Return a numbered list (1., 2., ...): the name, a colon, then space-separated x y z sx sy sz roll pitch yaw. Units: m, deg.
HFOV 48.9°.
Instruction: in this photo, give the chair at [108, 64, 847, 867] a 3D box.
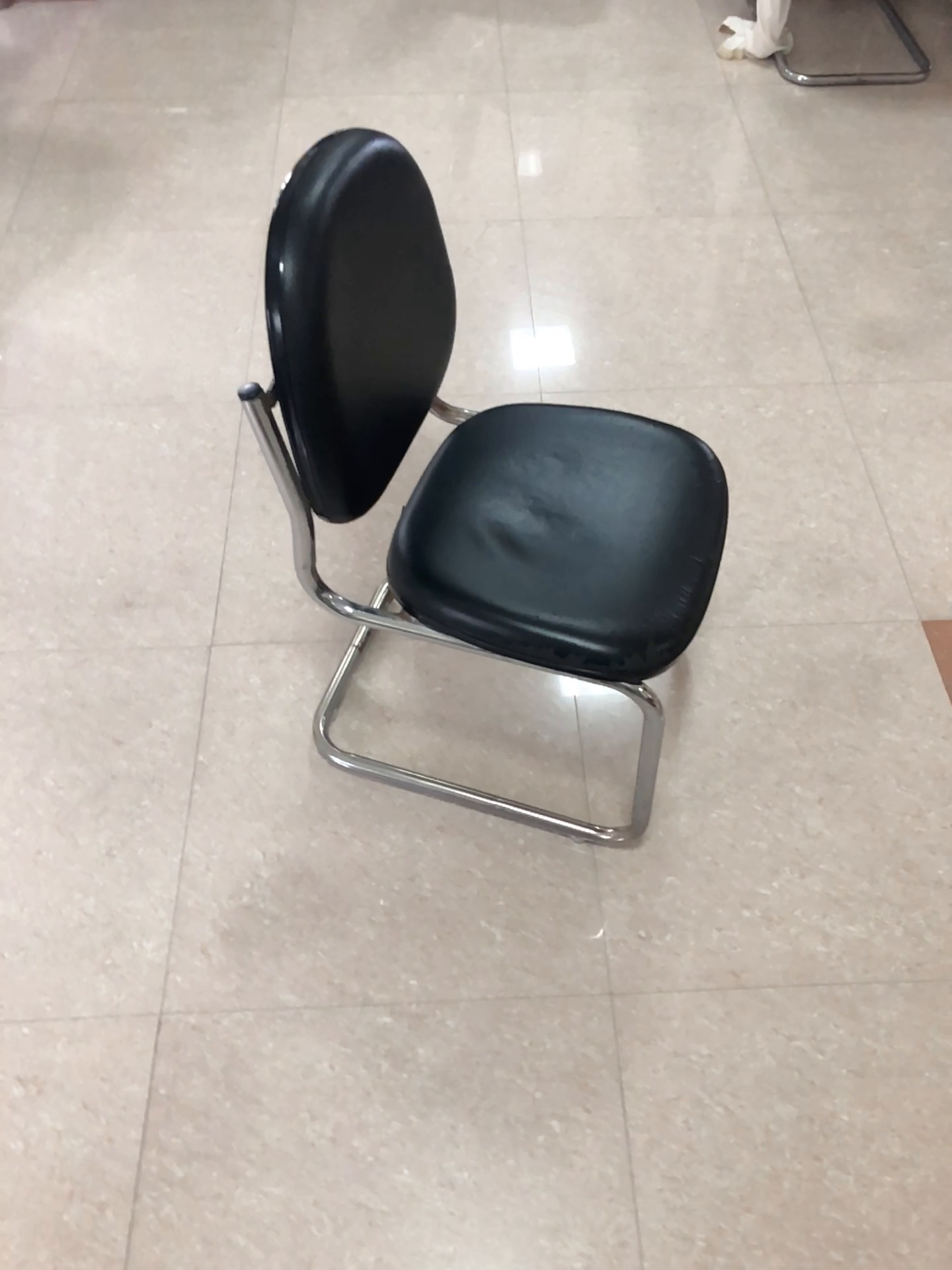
1. chair: 0.035 -0.167 1.311 0.590 0.758 0.501 13 55 10
